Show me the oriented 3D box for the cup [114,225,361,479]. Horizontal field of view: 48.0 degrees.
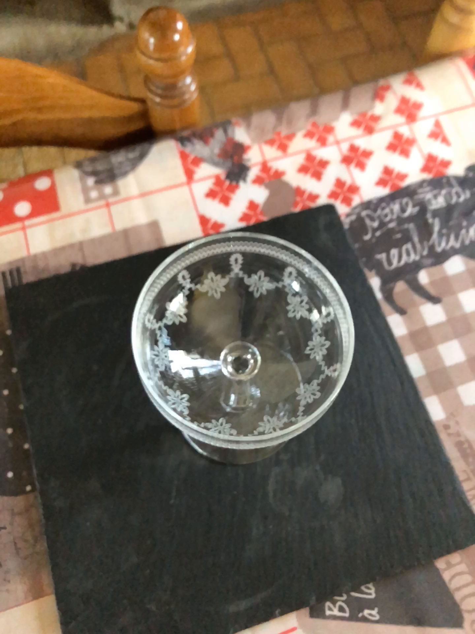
[{"bbox_3d":[0.001,0.026,0.267,0.090,0.120,0.090,0,67,-1],"label":"cup"}]
